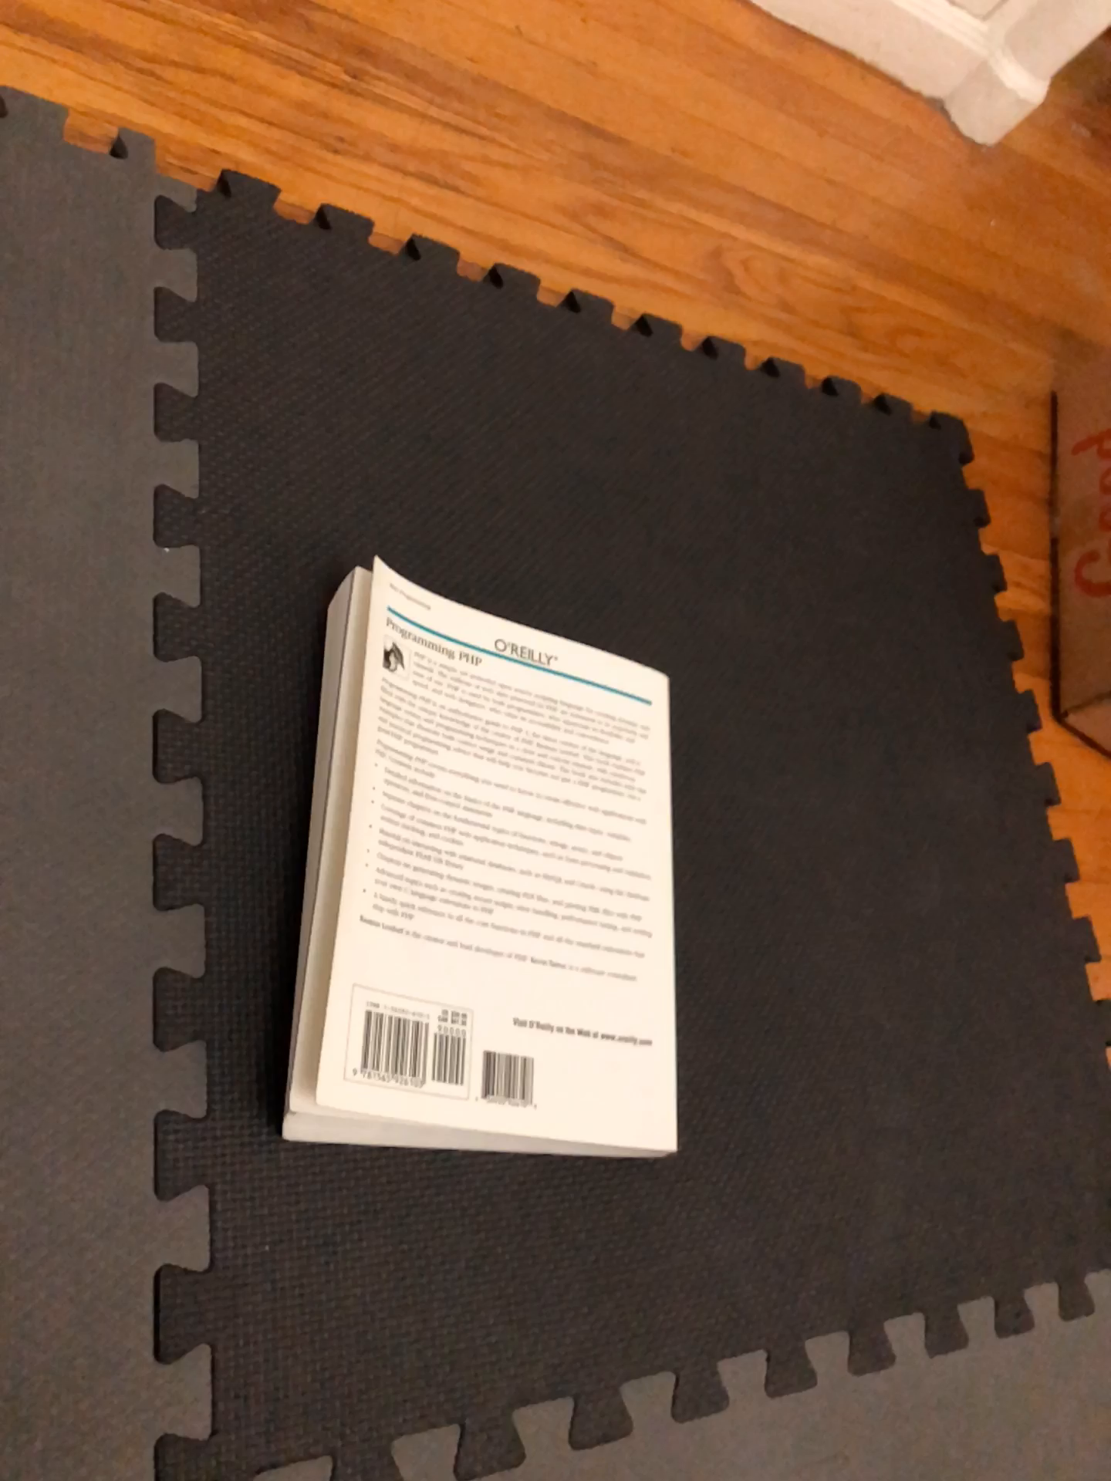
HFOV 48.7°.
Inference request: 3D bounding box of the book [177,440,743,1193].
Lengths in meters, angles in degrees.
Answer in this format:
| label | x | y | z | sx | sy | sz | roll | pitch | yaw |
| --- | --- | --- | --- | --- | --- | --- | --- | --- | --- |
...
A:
| label | x | y | z | sx | sy | sz | roll | pitch | yaw |
| --- | --- | --- | --- | --- | --- | --- | --- | --- | --- |
| book | -0.024 | 0.037 | 0.540 | 0.231 | 0.040 | 0.291 | 16 | 63 | -29 |
